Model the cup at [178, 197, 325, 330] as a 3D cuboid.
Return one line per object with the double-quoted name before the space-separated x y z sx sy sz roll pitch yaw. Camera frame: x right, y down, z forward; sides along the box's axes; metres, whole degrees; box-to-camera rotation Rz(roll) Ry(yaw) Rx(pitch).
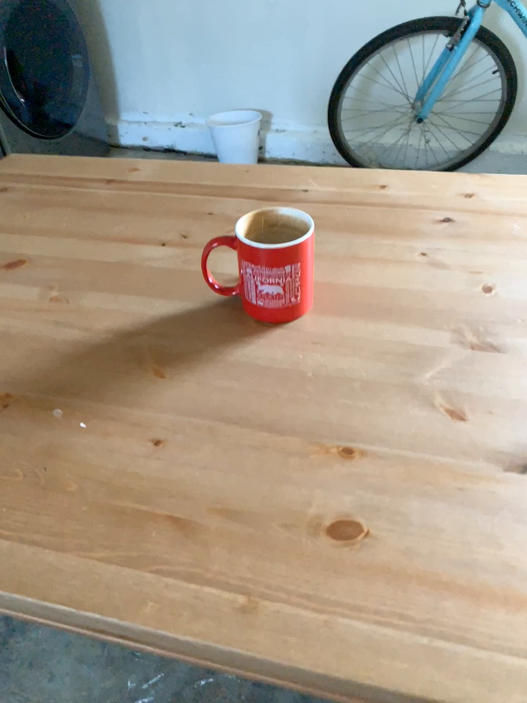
"cup" -0.006 -0.095 0.574 0.130 0.100 0.090 5 43 12
